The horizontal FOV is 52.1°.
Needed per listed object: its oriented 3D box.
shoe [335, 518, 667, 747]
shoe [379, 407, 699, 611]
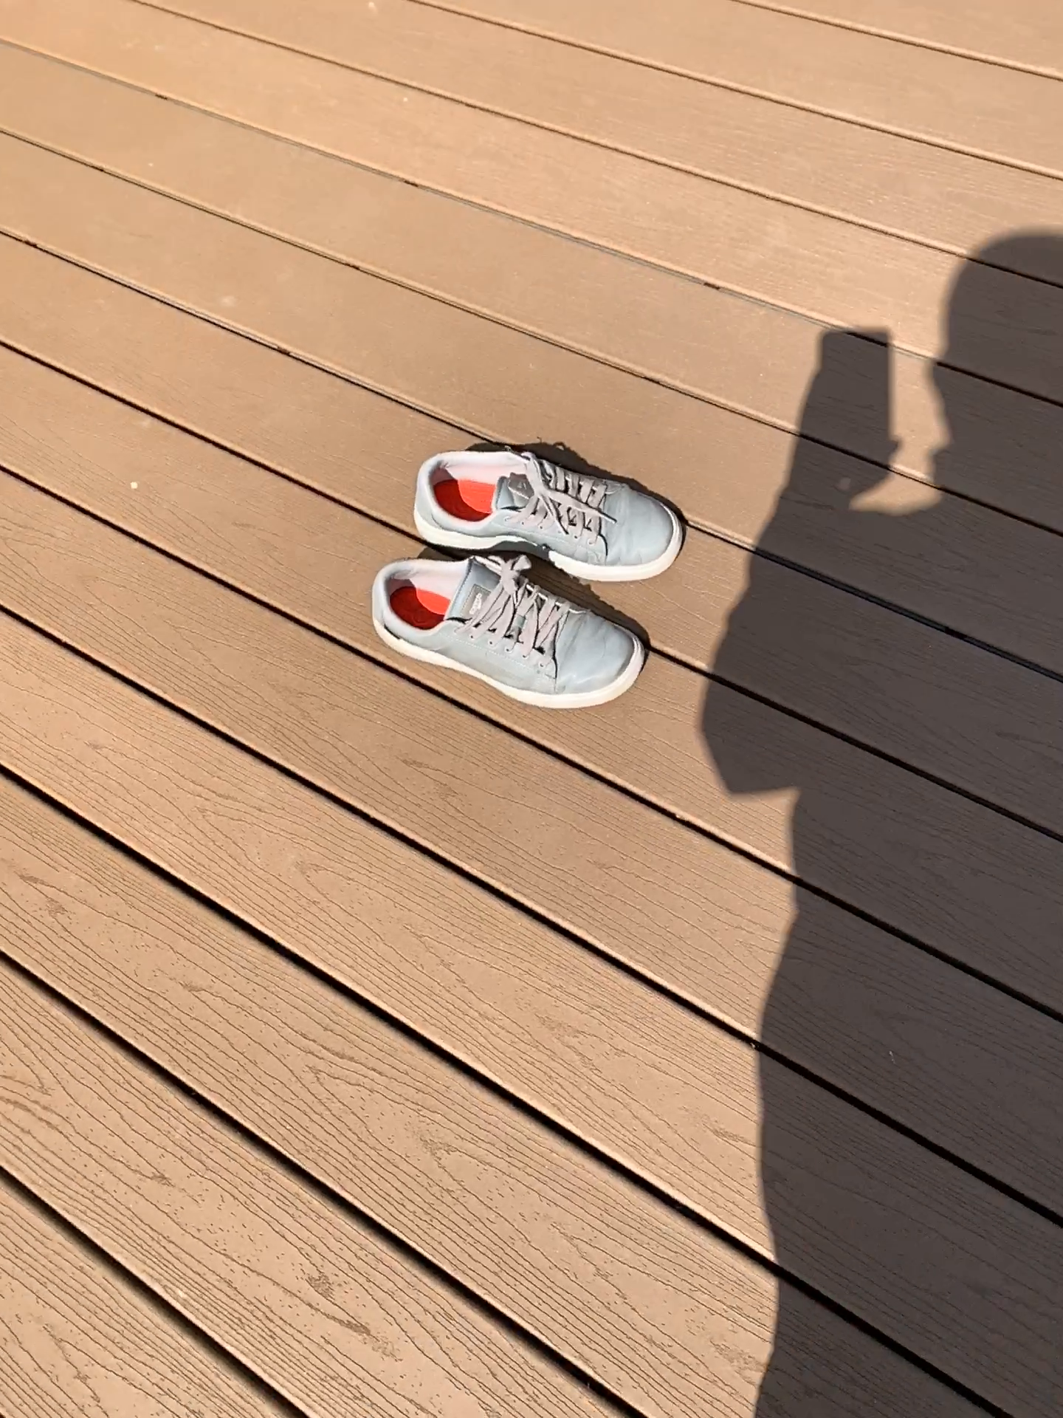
[{"bbox_3d":[-0.026,-0.076,1.069,0.291,0.100,0.120,17,71,16],"label":"shoe"},{"bbox_3d":[0.012,-0.203,1.100,0.290,0.100,0.120,13,70,14],"label":"shoe"}]
